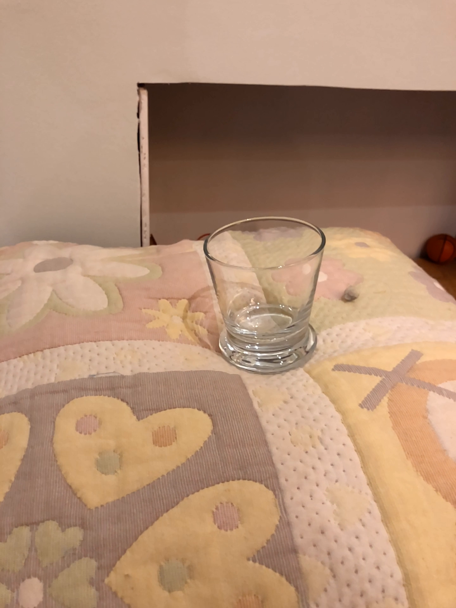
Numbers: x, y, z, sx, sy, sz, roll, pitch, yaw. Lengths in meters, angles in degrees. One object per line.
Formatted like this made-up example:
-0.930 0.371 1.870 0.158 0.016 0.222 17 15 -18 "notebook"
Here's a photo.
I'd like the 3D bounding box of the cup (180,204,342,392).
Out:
0.021 -0.009 0.351 0.080 0.089 0.080 -3 29 2 "cup"
